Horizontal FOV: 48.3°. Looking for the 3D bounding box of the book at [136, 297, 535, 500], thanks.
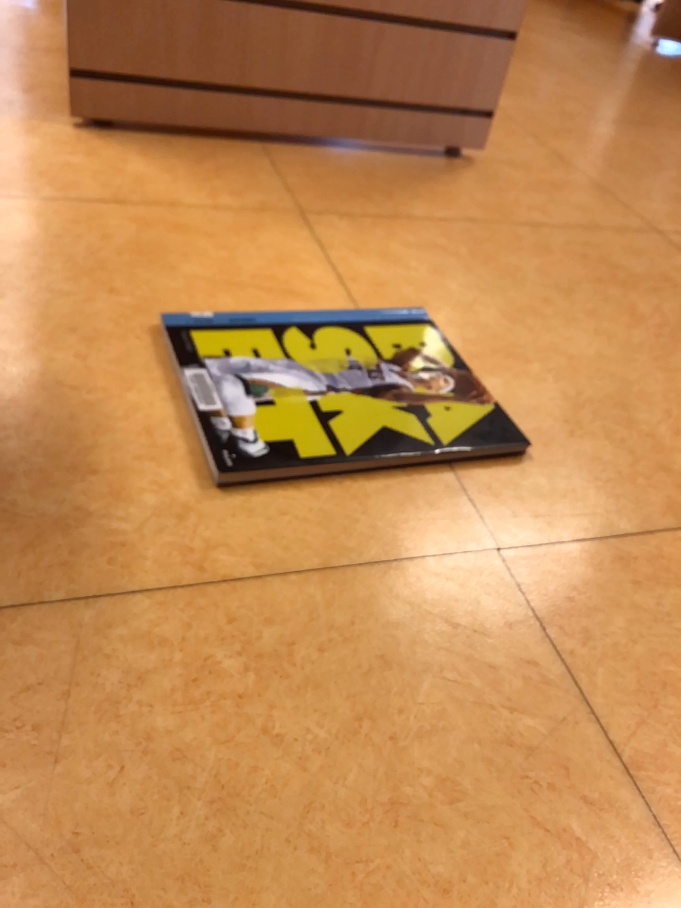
[{"bbox_3d":[-0.010,-0.056,0.566,0.245,0.020,0.201,-5,43,-23],"label":"book"}]
